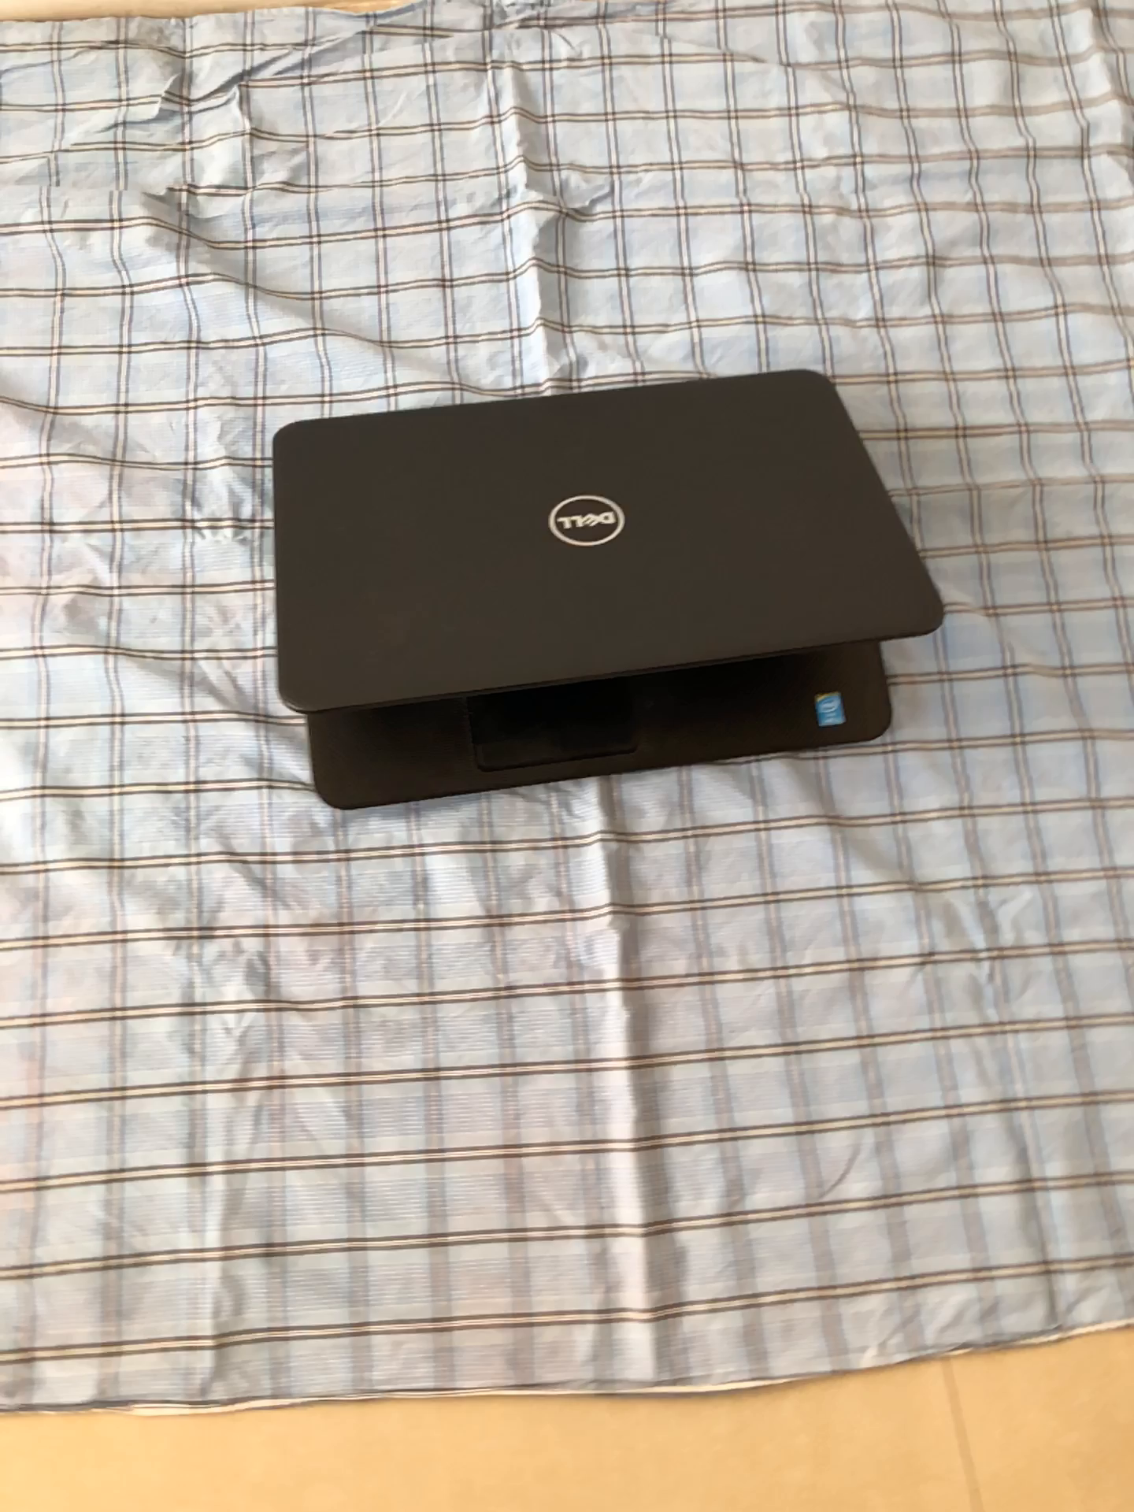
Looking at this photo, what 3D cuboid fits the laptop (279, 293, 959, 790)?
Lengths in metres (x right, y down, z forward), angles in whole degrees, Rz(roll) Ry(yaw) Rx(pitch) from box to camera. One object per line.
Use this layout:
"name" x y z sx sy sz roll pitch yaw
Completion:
"laptop" 0.024 -0.126 0.738 0.350 0.099 0.223 -8 77 -6
